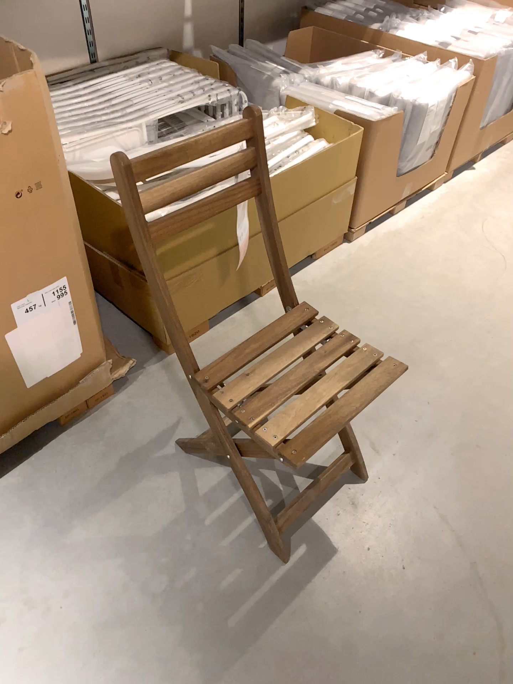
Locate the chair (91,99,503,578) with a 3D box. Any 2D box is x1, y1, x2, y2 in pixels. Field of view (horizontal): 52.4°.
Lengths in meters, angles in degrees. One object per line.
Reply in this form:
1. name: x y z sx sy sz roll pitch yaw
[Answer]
1. chair: 0.045 0.012 1.089 0.511 0.767 0.401 35 53 29
